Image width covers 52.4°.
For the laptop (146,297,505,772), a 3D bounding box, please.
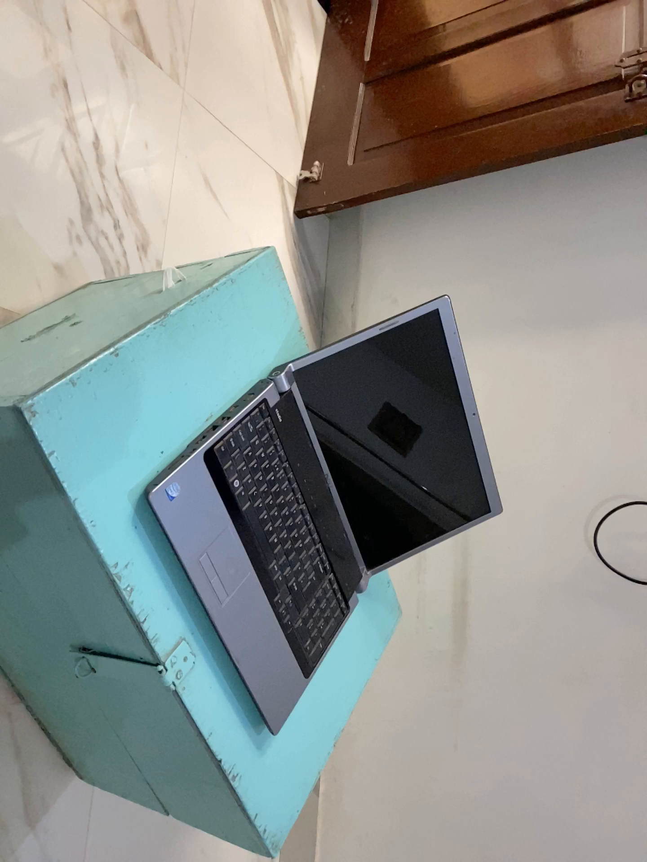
[{"bbox_3d":[0.059,0.106,0.898,0.480,0.178,0.390,-50,128,-45],"label":"laptop"}]
